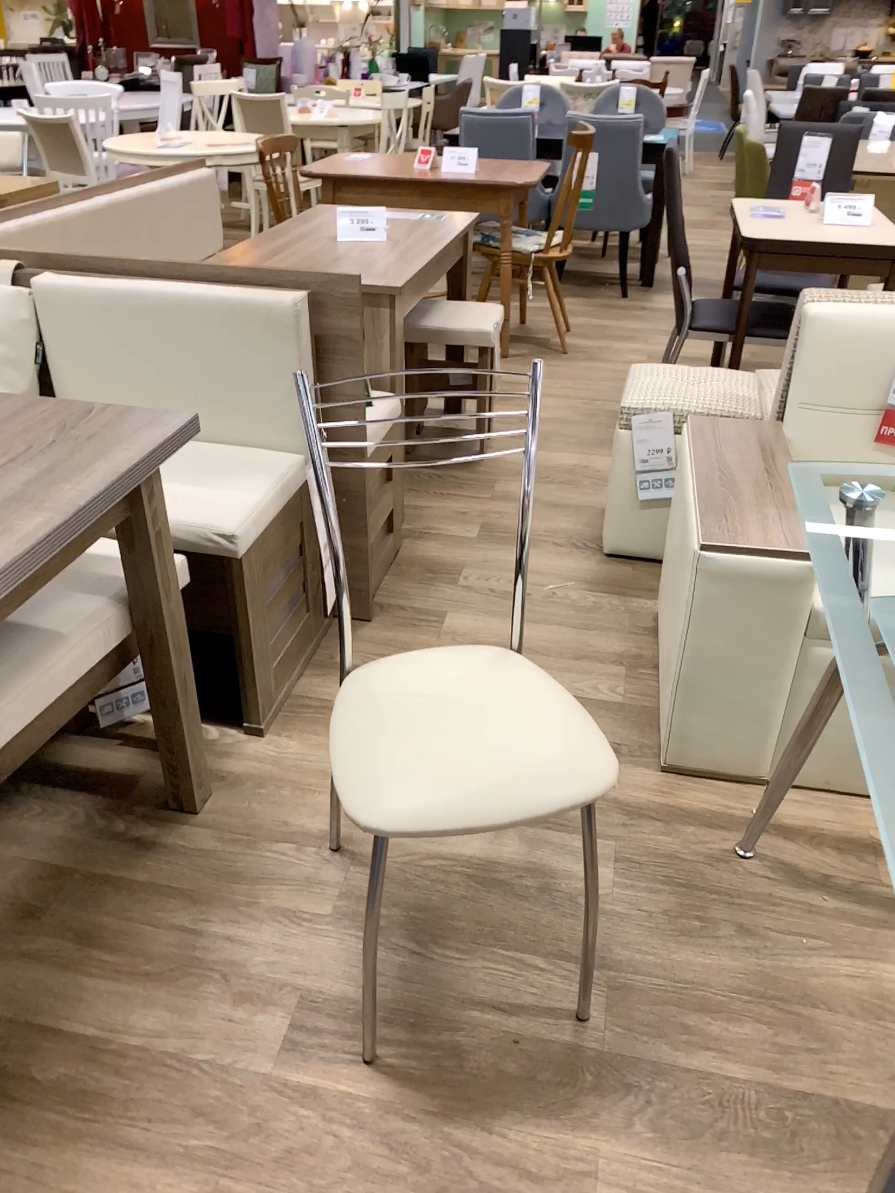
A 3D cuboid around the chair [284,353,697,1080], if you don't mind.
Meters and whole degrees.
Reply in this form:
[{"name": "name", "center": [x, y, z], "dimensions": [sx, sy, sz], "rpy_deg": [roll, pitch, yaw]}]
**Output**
[{"name": "chair", "center": [0.009, 0.188, 1.395], "dimensions": [0.413, 0.967, 0.483], "rpy_deg": [-5, 32, -10]}]
